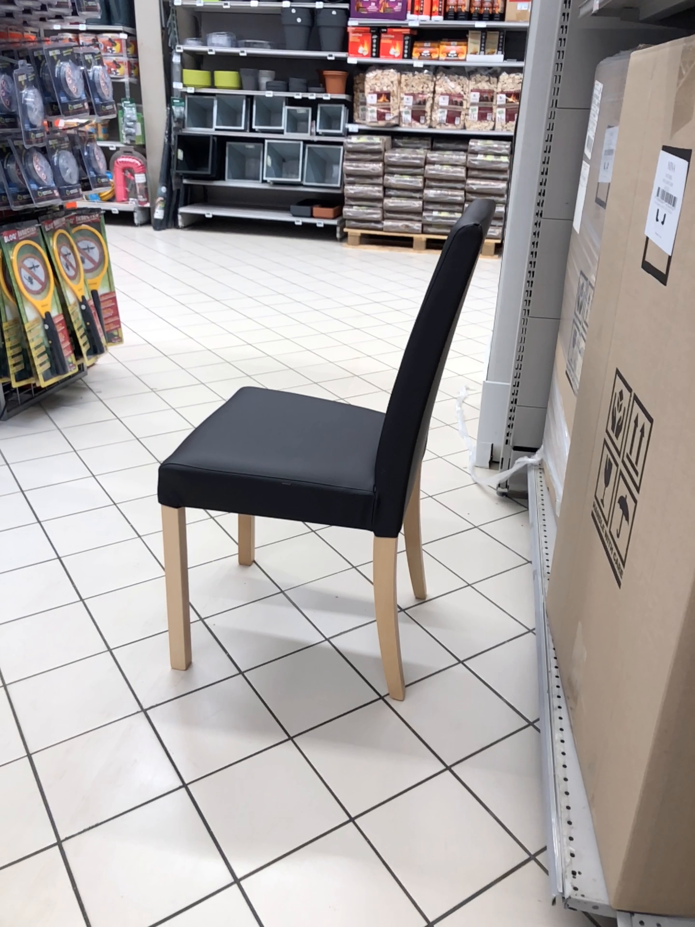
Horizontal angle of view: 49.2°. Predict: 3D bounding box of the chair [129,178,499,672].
[{"bbox_3d":[-0.035,-0.097,1.571,0.590,0.855,0.453,6,26,8],"label":"chair"}]
